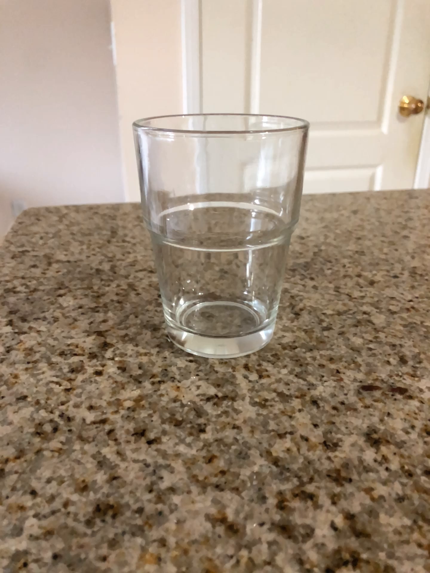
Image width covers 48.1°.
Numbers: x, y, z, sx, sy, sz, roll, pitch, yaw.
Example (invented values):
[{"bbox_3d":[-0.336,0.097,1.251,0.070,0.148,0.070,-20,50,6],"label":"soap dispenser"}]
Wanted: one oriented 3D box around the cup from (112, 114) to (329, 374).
[{"bbox_3d":[0.005,-0.027,0.234,0.070,0.100,0.070,0,23,0],"label":"cup"}]
